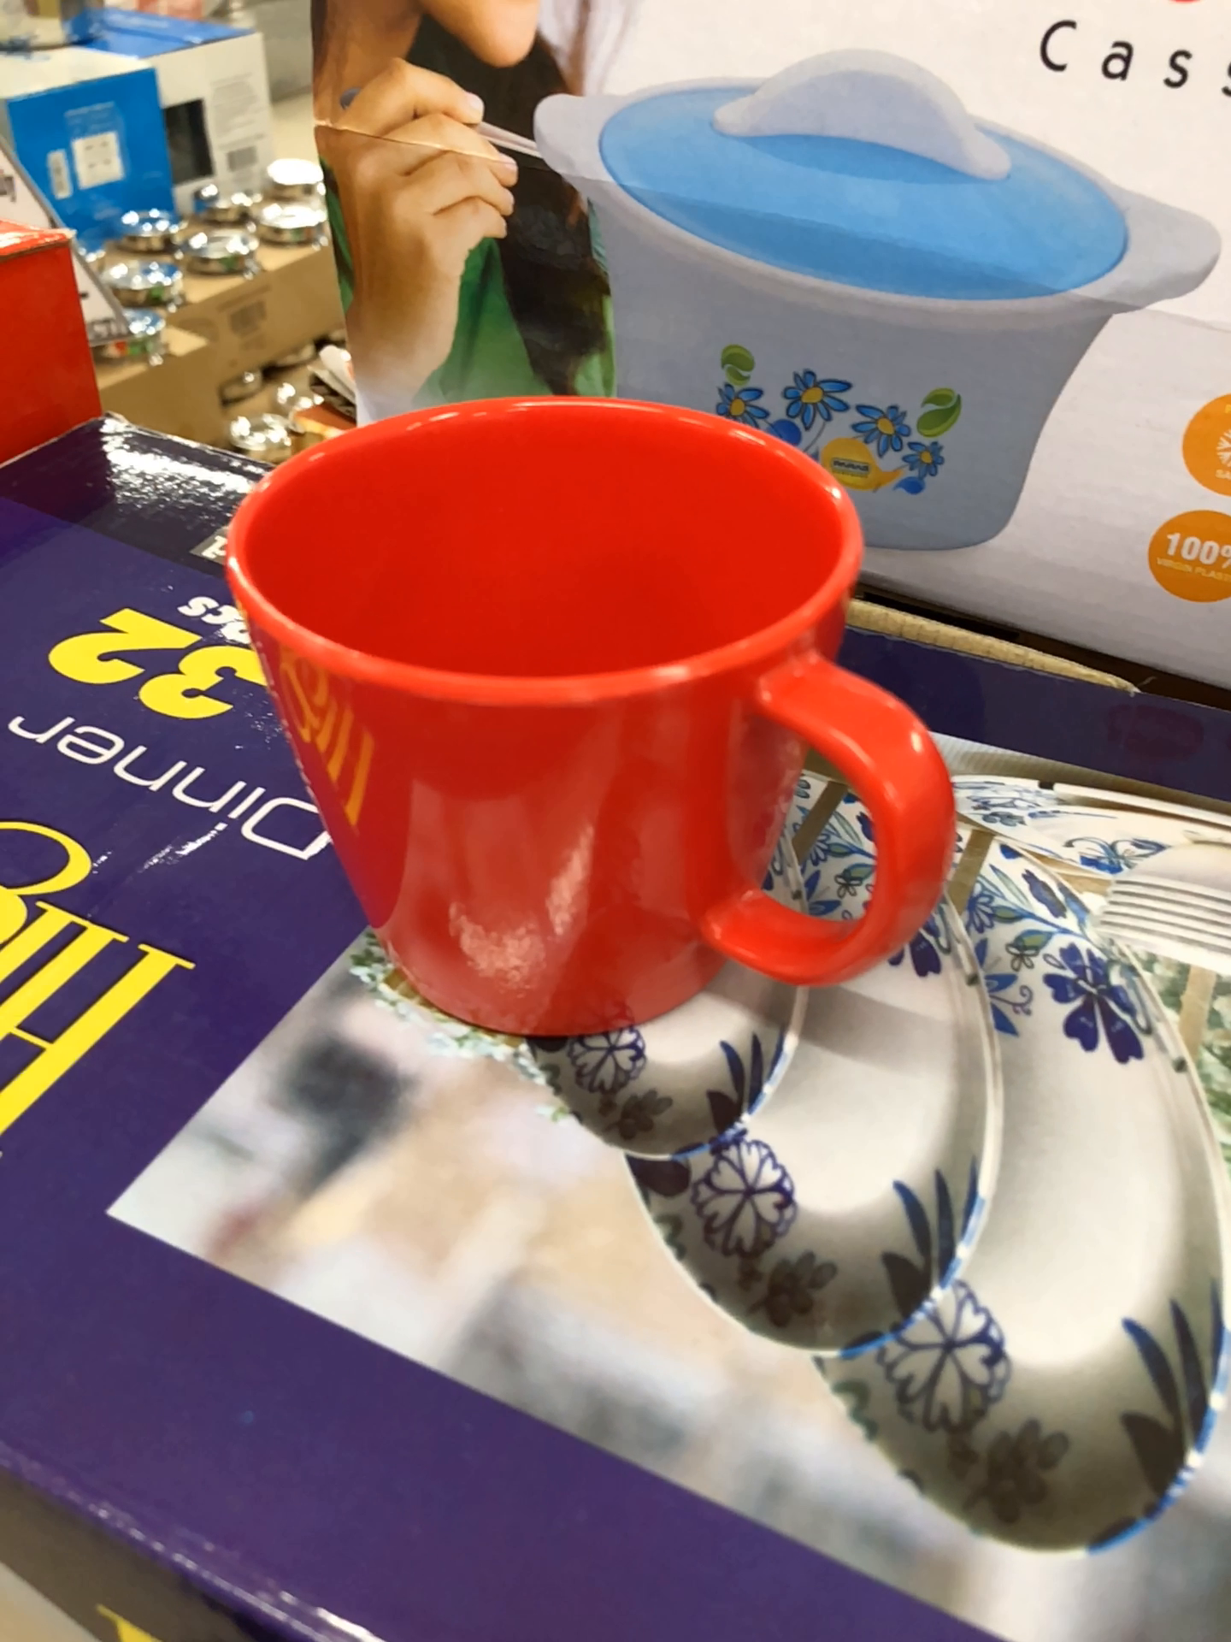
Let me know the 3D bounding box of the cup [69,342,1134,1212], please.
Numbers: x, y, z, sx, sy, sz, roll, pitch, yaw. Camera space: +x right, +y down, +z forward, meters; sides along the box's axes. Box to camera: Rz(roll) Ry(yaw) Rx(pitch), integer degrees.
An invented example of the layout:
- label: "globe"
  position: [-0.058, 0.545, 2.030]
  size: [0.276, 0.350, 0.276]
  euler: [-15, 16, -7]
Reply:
- label: "cup"
  position: [0.002, -0.015, 0.177]
  size: [0.100, 0.050, 0.081]
  euler: [19, 42, 19]
